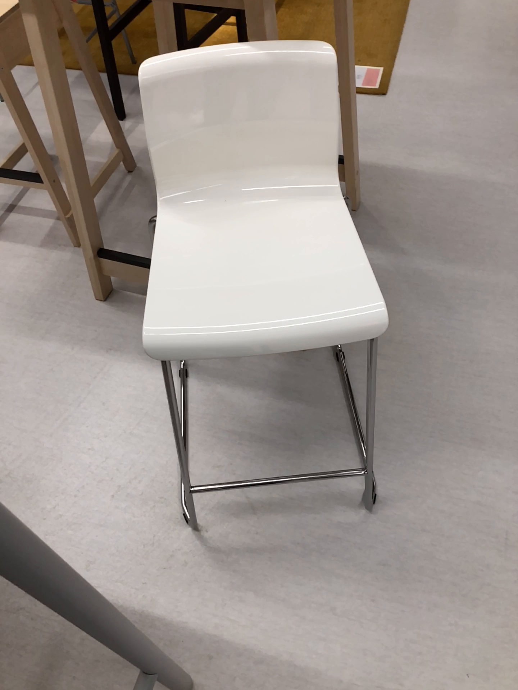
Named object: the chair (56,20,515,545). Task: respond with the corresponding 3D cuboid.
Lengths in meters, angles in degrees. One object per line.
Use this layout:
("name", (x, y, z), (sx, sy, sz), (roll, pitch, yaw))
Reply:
("chair", (0.022, -0.049, 1.109), (0.500, 0.825, 0.553), (-7, 53, -1))
